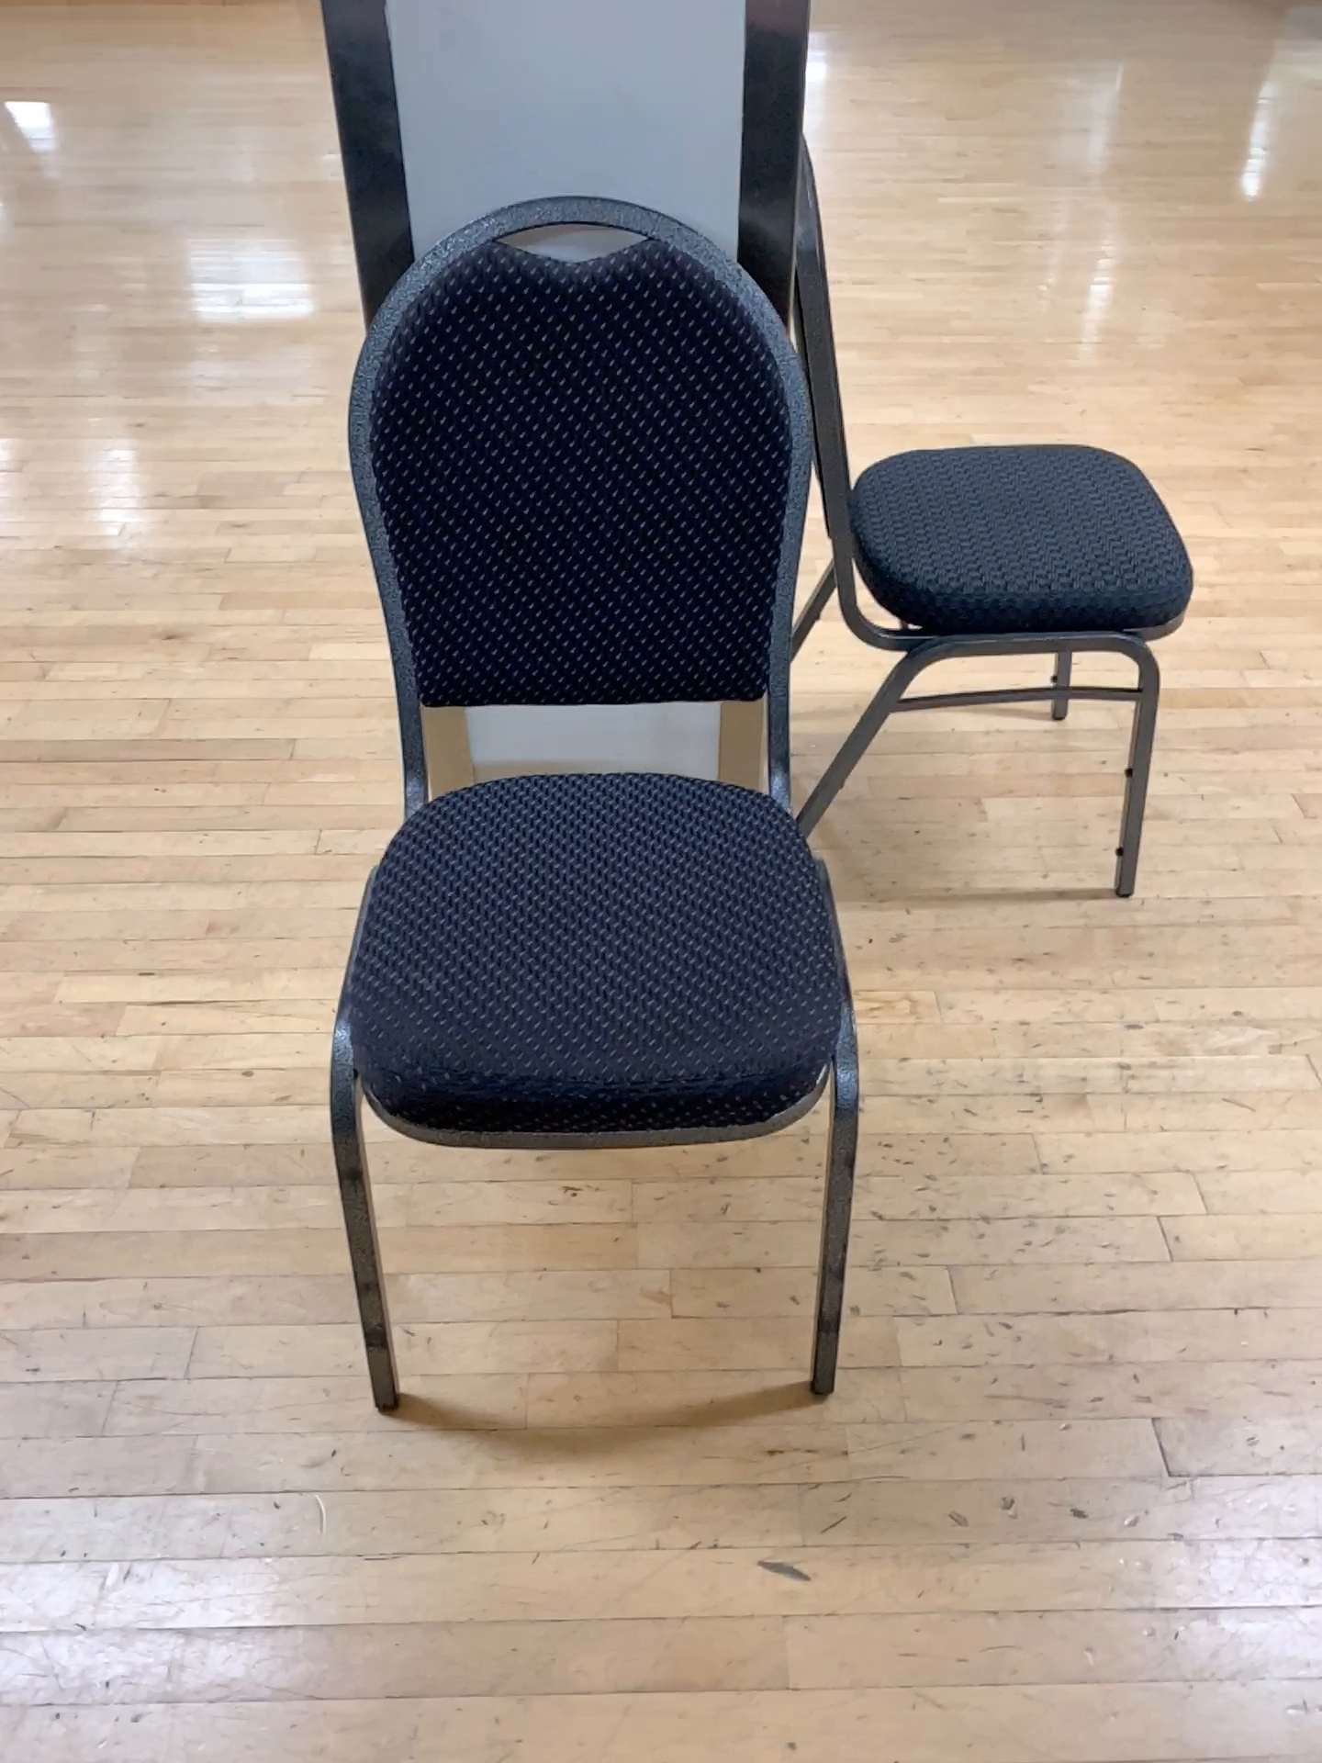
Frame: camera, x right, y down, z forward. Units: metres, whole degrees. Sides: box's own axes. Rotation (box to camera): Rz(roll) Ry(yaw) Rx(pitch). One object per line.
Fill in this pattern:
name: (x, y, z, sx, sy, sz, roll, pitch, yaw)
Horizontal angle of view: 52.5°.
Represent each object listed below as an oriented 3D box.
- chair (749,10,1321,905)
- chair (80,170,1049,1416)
chair: (0.410, -0.471, 1.631, 0.553, 0.921, 0.464, 1, 42, 1)
chair: (-0.048, -0.029, 1.154, 0.461, 0.921, 0.556, 0, 42, 0)
